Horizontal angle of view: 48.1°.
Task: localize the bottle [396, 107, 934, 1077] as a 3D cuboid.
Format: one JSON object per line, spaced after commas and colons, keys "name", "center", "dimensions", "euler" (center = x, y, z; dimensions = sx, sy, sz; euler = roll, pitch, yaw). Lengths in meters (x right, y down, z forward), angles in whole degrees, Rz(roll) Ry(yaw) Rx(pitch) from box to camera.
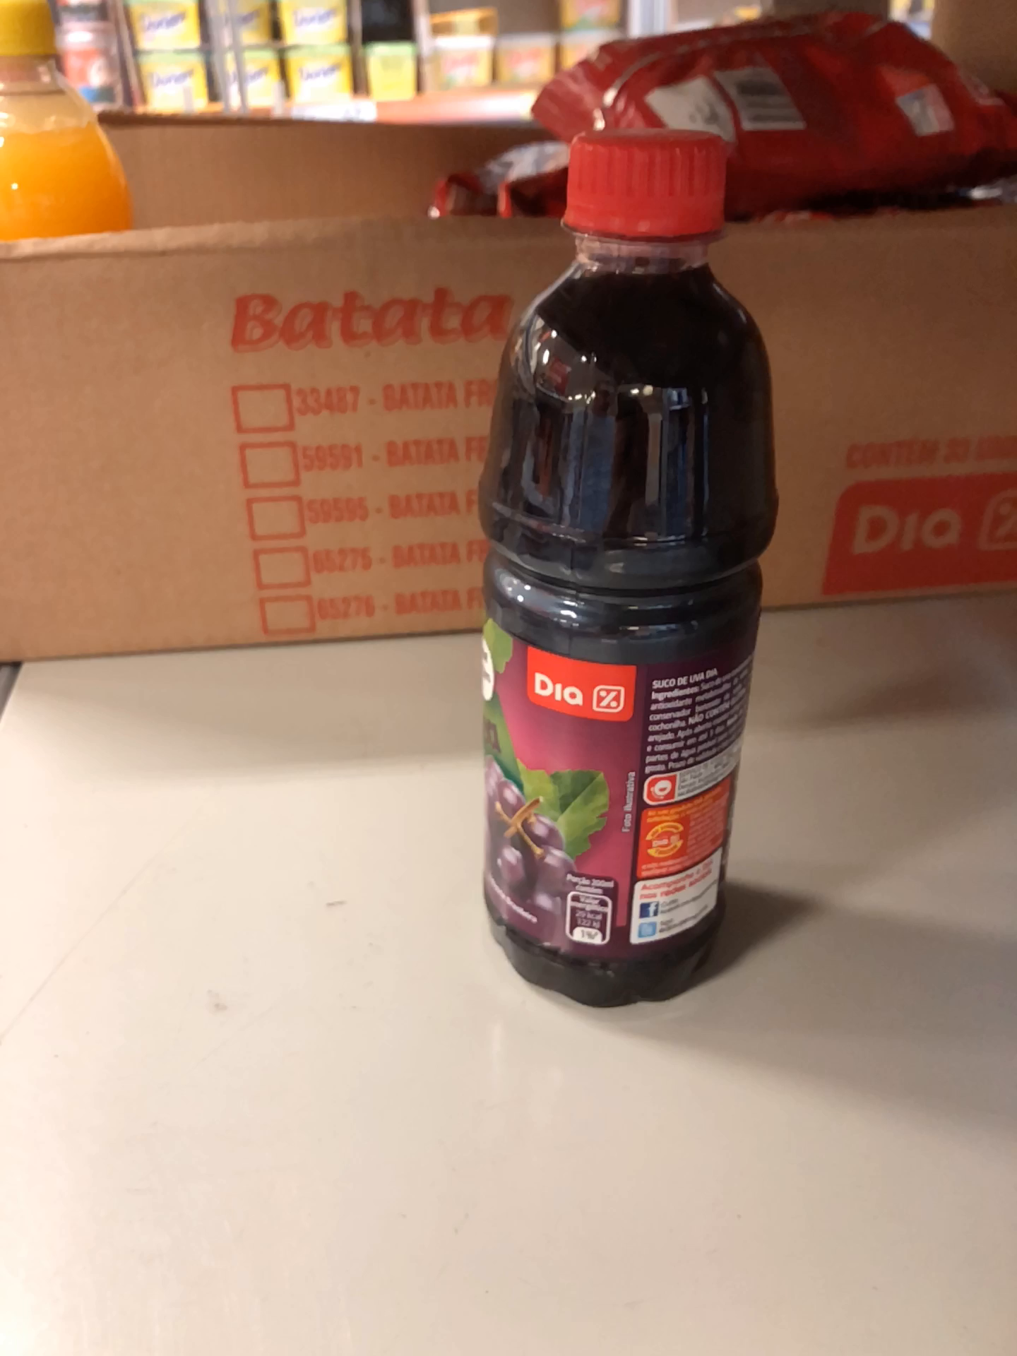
{"name": "bottle", "center": [0.029, -0.017, 0.265], "dimensions": [0.070, 0.198, 0.081], "euler": [-14, 32, -18]}
